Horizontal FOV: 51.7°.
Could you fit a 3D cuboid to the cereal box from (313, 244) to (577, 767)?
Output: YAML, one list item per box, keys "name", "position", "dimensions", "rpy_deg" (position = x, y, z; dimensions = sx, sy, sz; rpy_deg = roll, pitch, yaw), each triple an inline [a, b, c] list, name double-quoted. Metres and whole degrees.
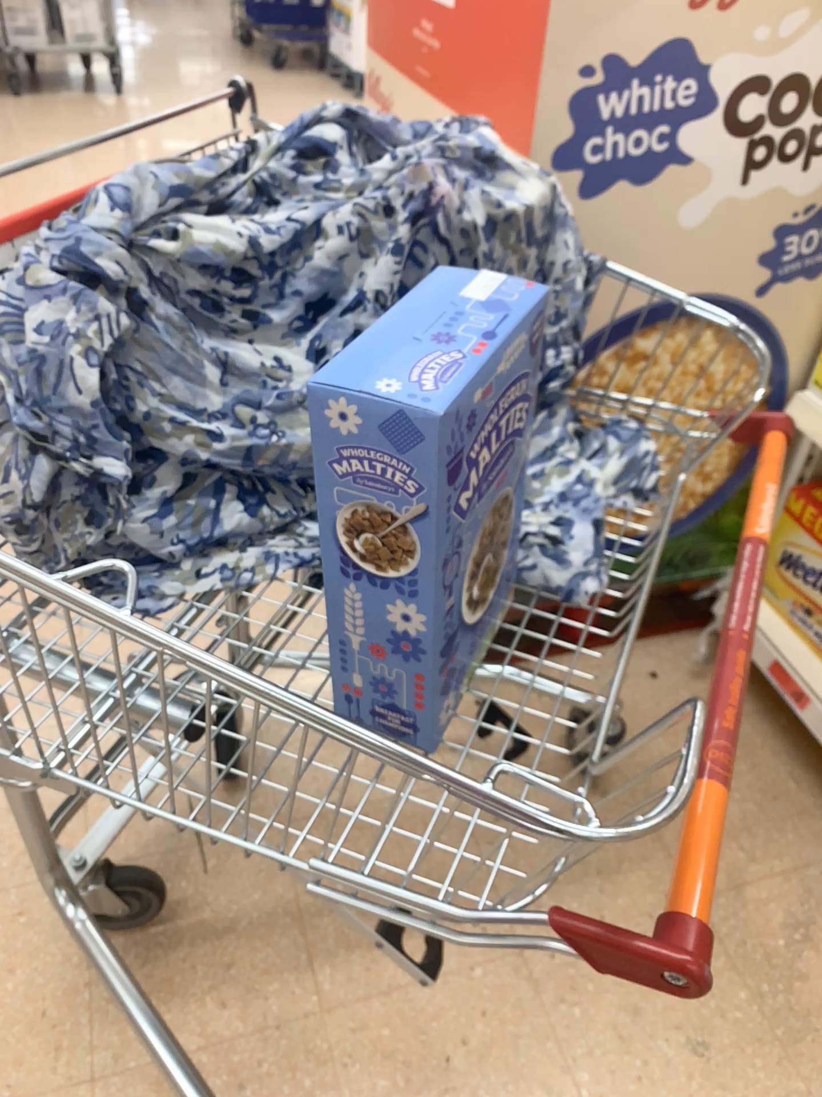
- name: "cereal box"
  position: [0.029, -0.033, 0.608]
  dimensions: [0.090, 0.287, 0.222]
  rpy_deg: [15, 39, 17]
